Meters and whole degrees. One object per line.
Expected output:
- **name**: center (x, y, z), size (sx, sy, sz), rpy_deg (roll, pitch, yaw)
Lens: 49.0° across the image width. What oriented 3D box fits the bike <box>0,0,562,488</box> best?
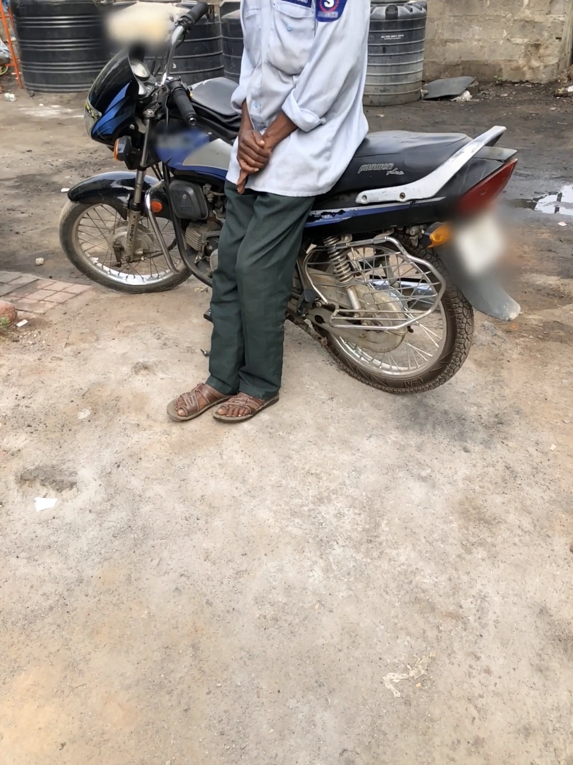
- **bike**: center (-0.229, -0.633, 2.149), size (1.799, 1.154, 0.789), rpy_deg (19, 38, 28)
